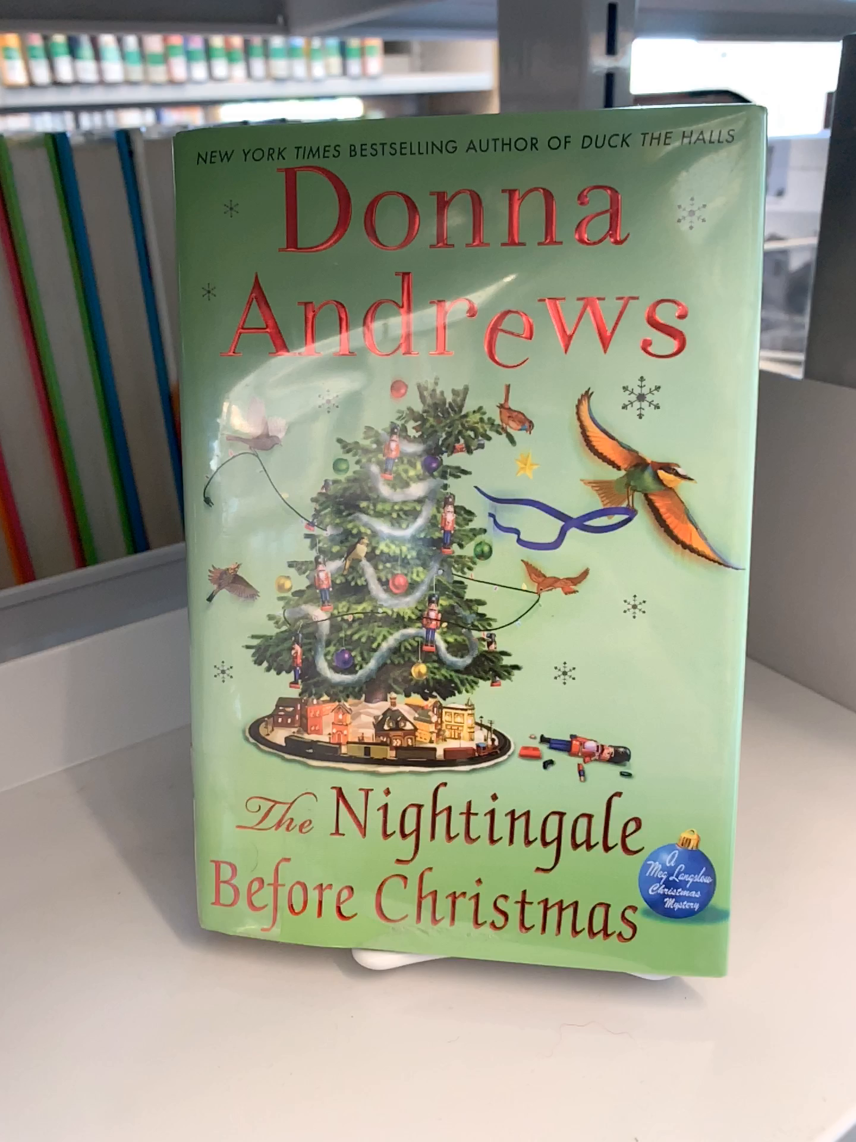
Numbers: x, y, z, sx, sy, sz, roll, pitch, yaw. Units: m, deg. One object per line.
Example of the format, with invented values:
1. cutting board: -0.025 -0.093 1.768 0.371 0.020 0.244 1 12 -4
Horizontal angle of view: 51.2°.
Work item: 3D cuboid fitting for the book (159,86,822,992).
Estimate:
1. book: 0.011 -0.006 0.227 0.145 0.200 0.040 2 7 9
